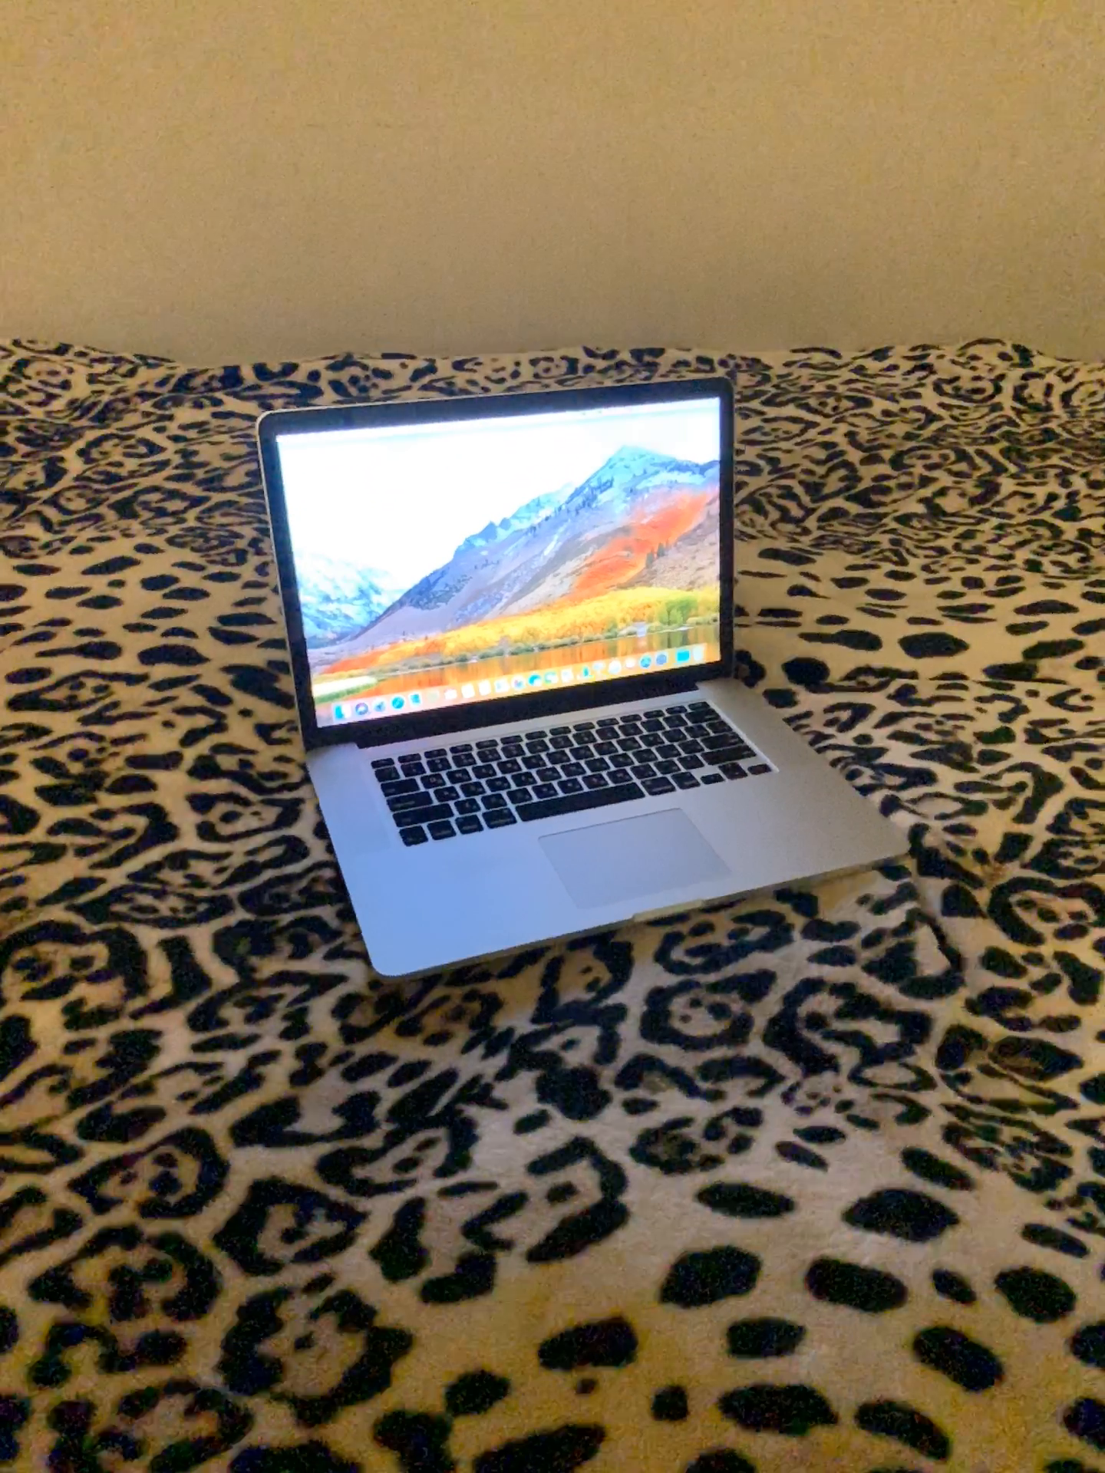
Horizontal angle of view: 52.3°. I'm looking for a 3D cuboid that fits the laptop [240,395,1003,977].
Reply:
[{"bbox_3d":[0.015,-0.059,0.724,0.349,0.222,0.301,-11,36,-18],"label":"laptop"}]
